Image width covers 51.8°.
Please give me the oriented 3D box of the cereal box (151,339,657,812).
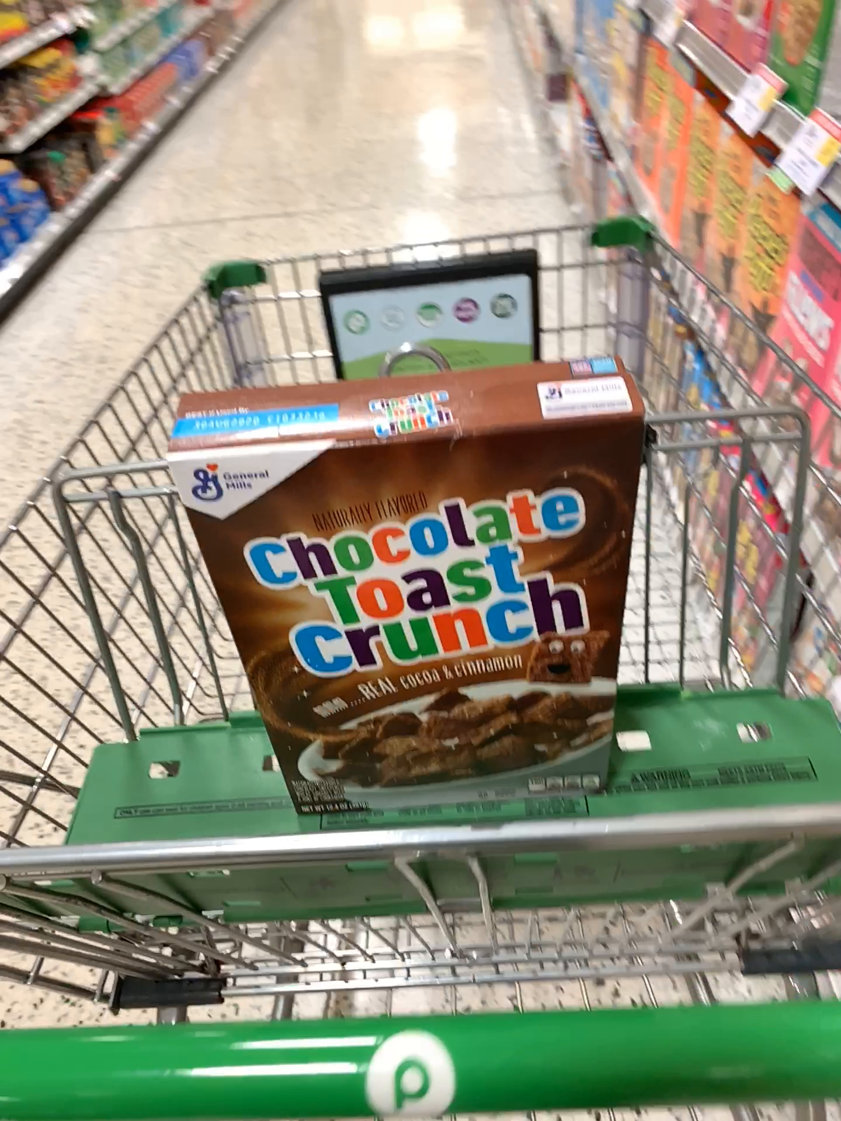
[{"bbox_3d":[0.005,0.030,0.453,0.200,0.277,0.051,-5,44,3],"label":"cereal box"}]
